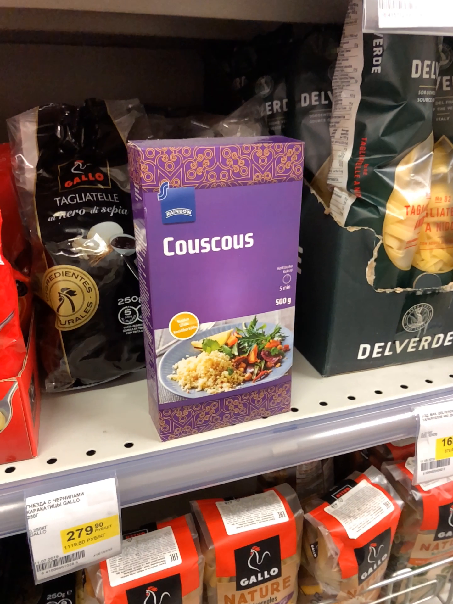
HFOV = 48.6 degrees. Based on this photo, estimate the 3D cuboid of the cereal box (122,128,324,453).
[{"bbox_3d":[-0.003,-0.006,0.329,0.110,0.199,0.040,-8,24,-19],"label":"cereal box"}]
